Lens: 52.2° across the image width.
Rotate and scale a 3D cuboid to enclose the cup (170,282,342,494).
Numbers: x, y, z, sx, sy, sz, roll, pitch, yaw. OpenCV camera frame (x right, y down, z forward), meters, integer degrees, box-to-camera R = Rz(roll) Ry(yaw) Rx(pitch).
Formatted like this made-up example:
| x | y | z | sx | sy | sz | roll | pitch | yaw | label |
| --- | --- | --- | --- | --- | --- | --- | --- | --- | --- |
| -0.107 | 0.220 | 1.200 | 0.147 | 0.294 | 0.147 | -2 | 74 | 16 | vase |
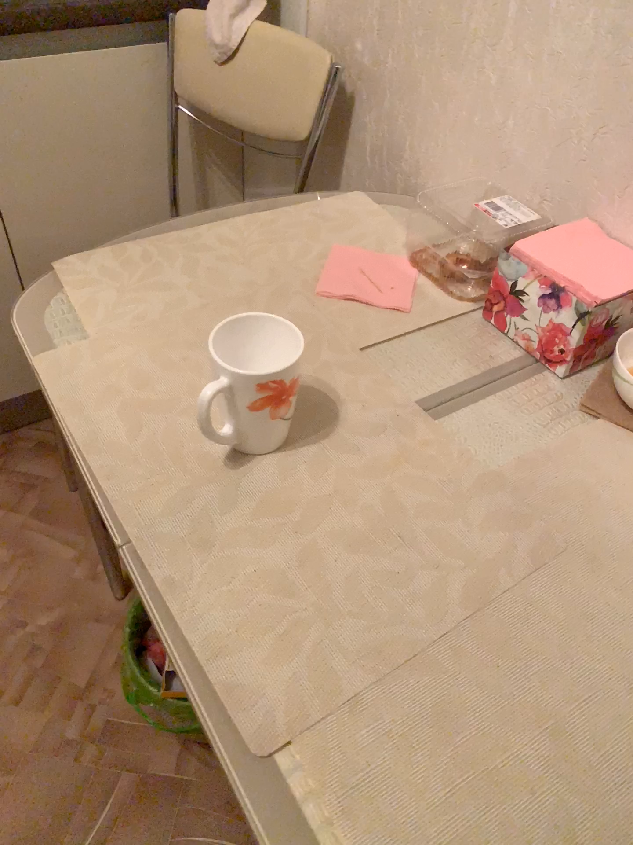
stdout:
| x | y | z | sx | sy | sz | roll | pitch | yaw | label |
| --- | --- | --- | --- | --- | --- | --- | --- | --- | --- |
| -0.047 | -0.031 | 0.546 | 0.080 | 0.109 | 0.121 | 25 | 48 | 19 | cup |
